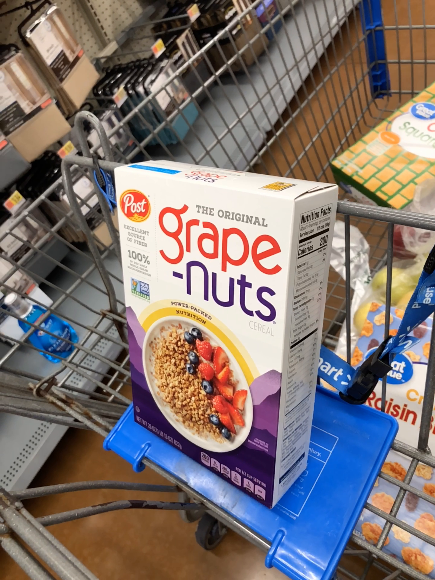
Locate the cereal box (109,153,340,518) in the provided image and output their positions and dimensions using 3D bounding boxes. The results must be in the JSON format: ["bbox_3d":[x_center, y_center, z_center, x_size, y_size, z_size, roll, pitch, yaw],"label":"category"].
[{"bbox_3d":[-0.005,0.029,0.390,0.171,0.250,0.050,19,28,36],"label":"cereal box"}]
